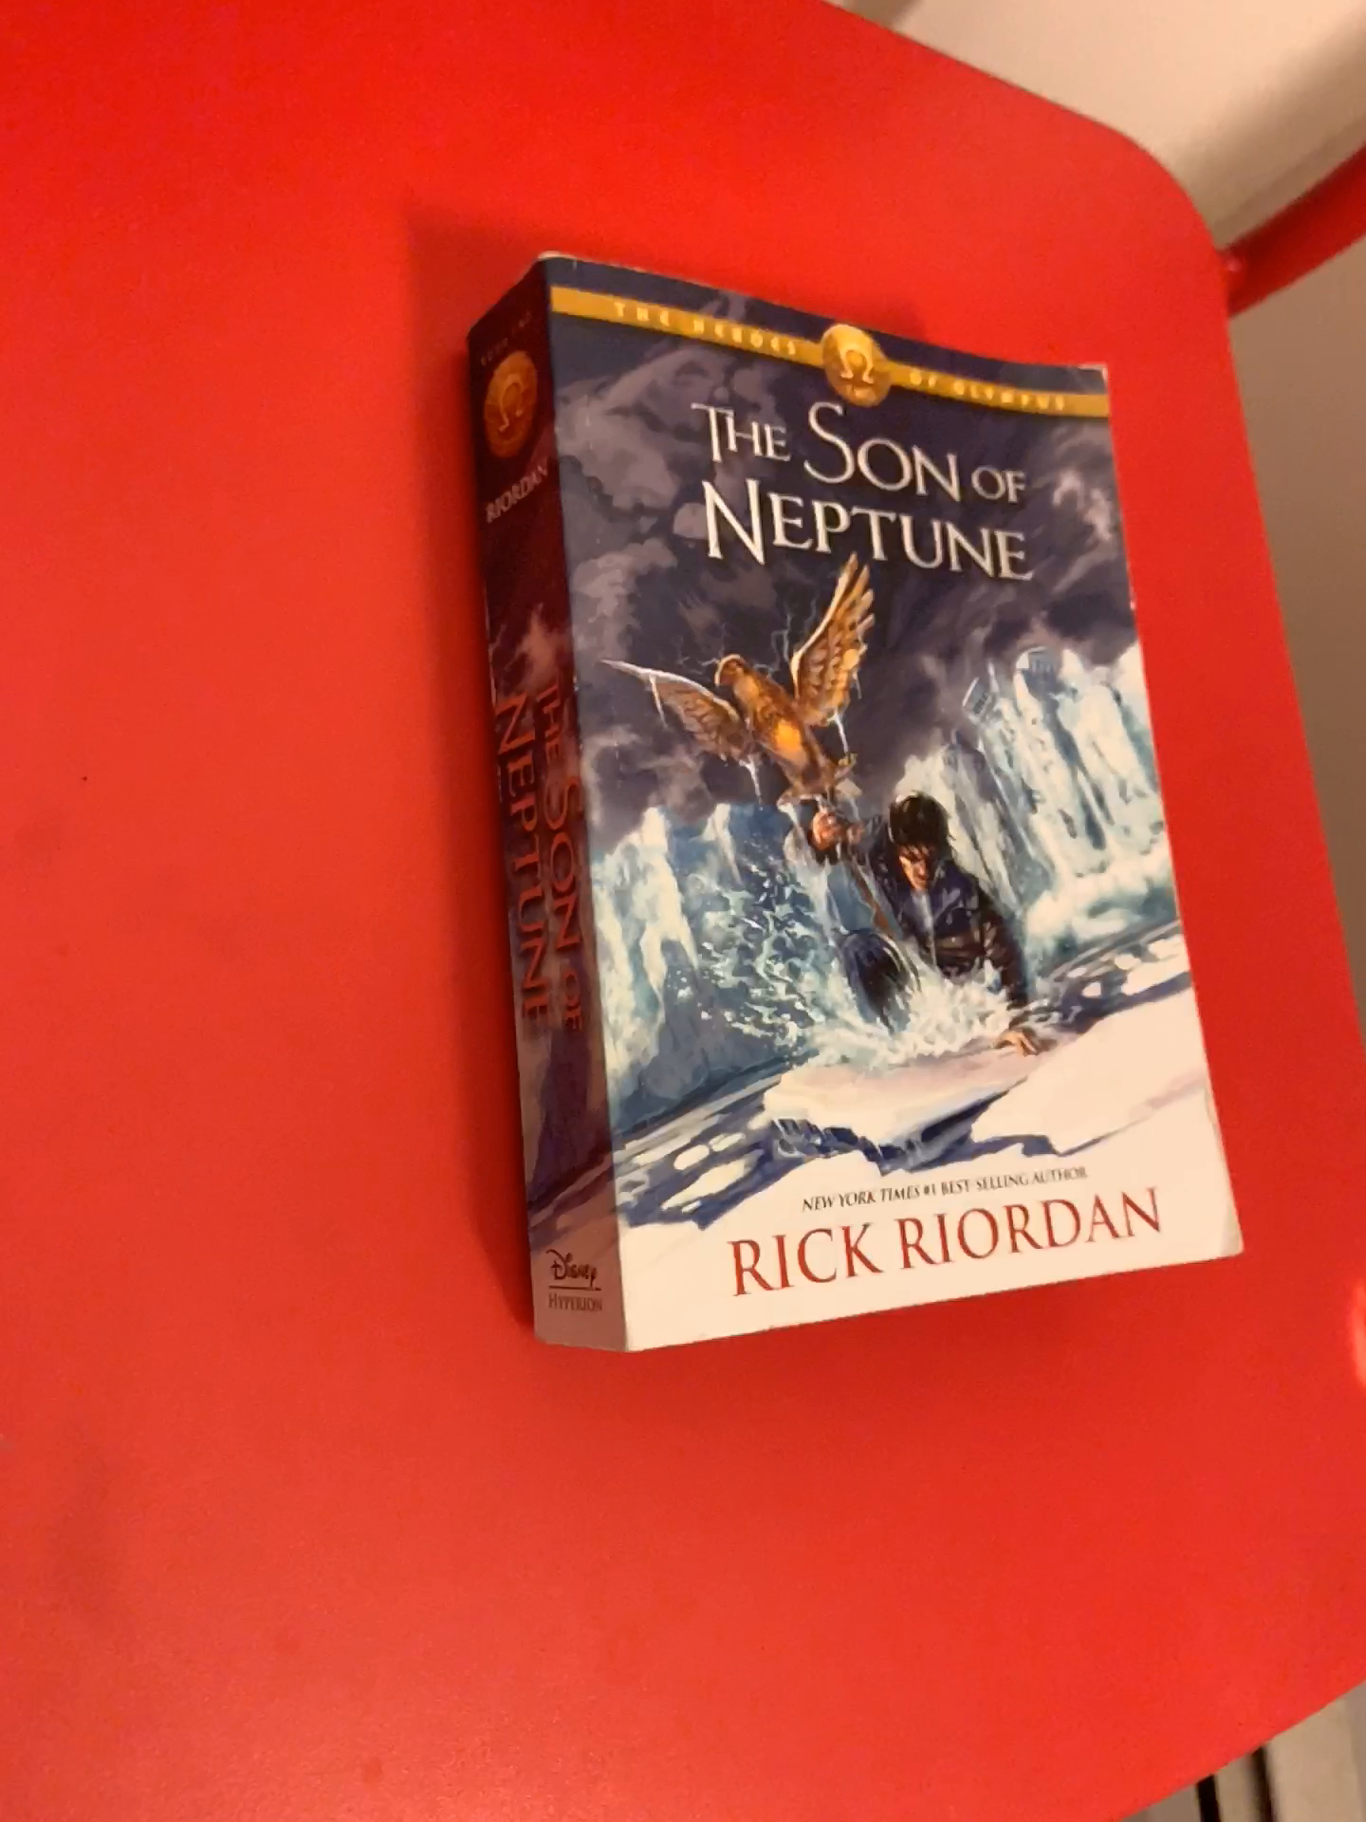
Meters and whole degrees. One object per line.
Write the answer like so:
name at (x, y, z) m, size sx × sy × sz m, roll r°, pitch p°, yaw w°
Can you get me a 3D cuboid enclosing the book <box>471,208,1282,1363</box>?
book at (0.038, -0.022, 0.276) m, size 0.142 × 0.040 × 0.188 m, roll 1°, pitch 78°, yaw -31°
